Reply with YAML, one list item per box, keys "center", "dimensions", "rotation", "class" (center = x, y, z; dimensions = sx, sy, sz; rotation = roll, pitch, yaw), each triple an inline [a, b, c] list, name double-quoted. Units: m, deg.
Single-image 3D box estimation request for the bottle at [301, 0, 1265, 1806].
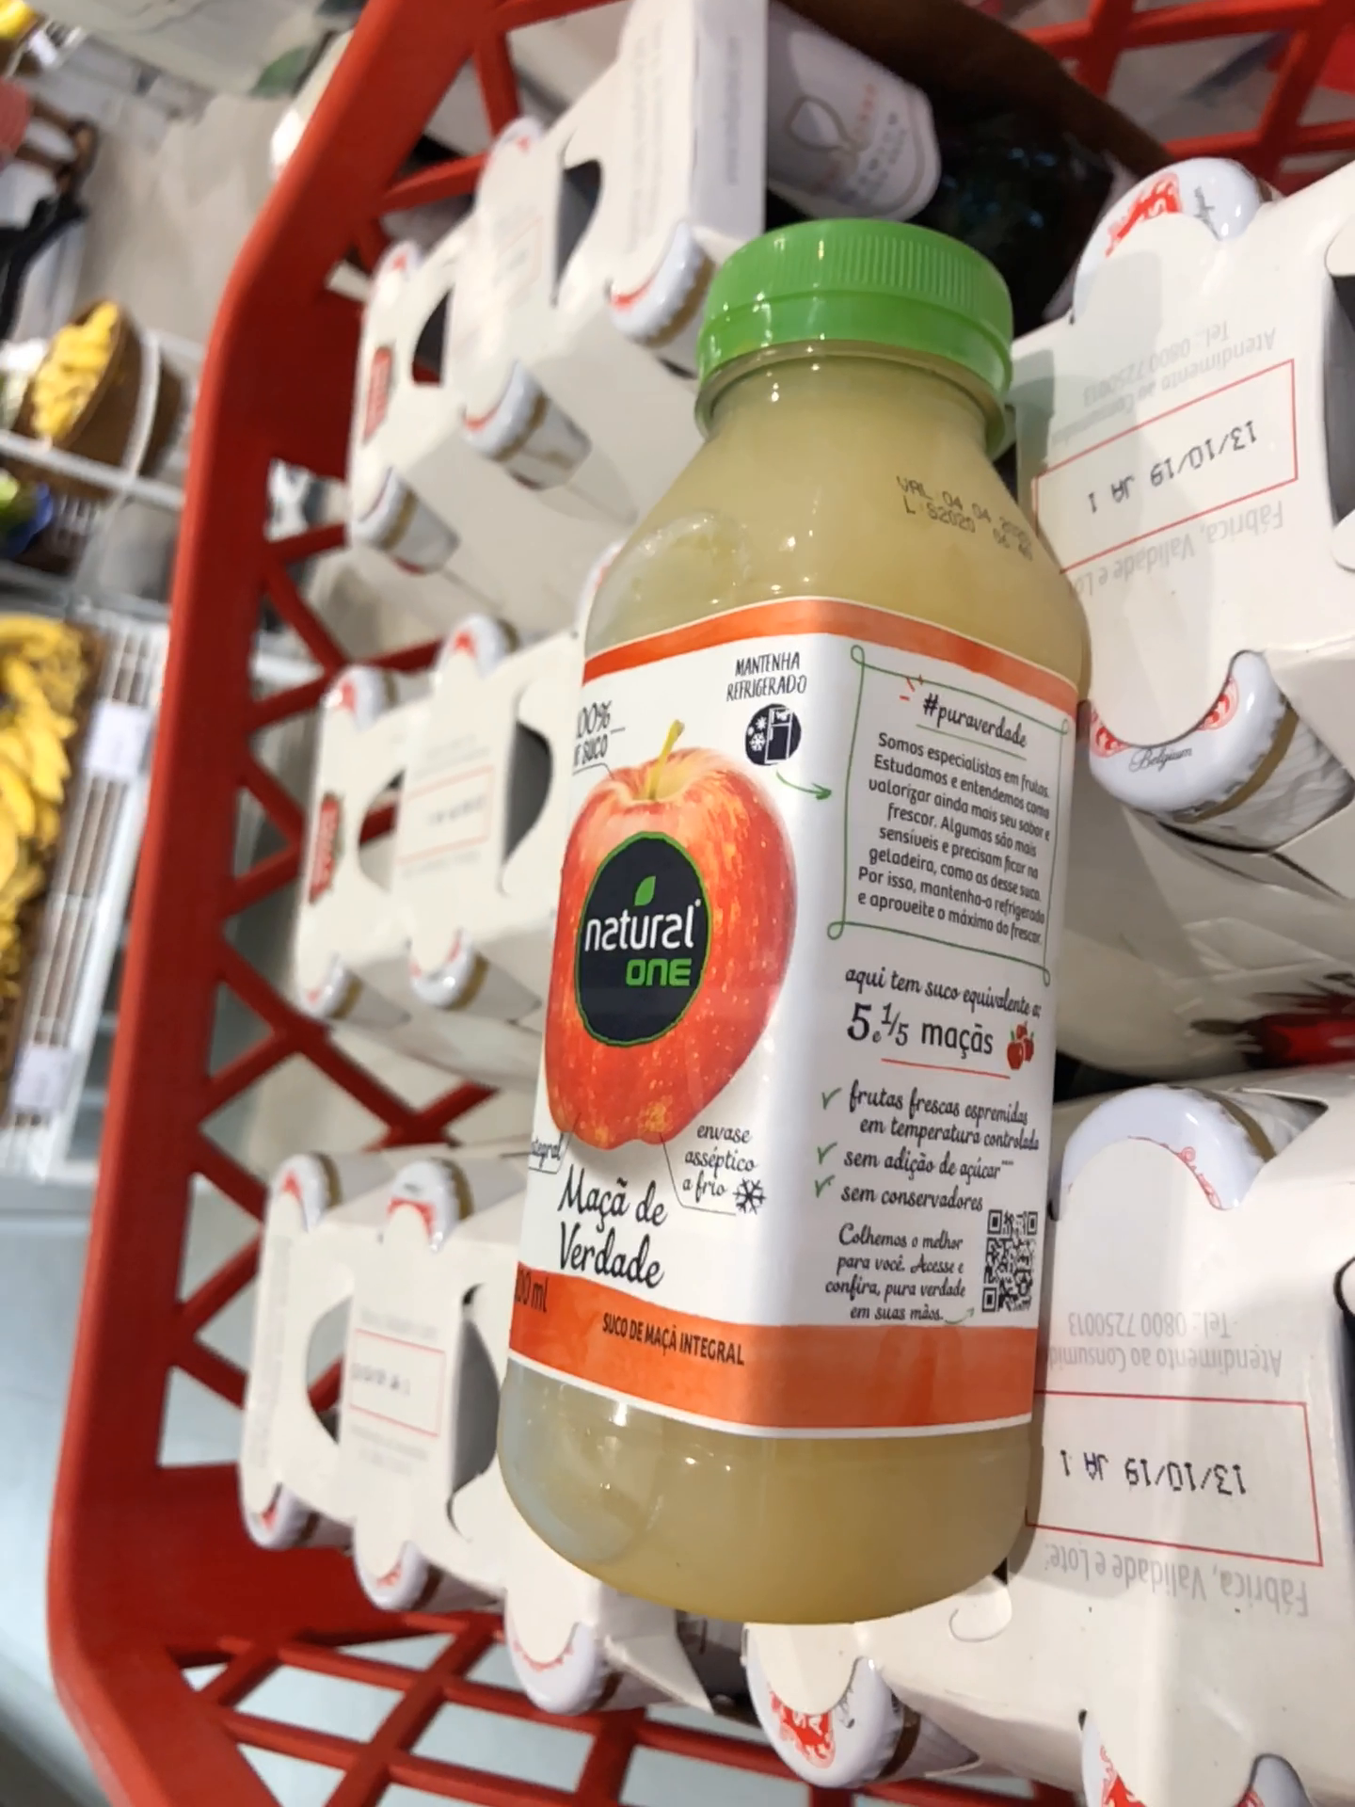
- center: [0.013, -0.009, 0.176]
  dimensions: [0.060, 0.060, 0.180]
  rotation: [-1, 78, 56]
  class: "bottle"
